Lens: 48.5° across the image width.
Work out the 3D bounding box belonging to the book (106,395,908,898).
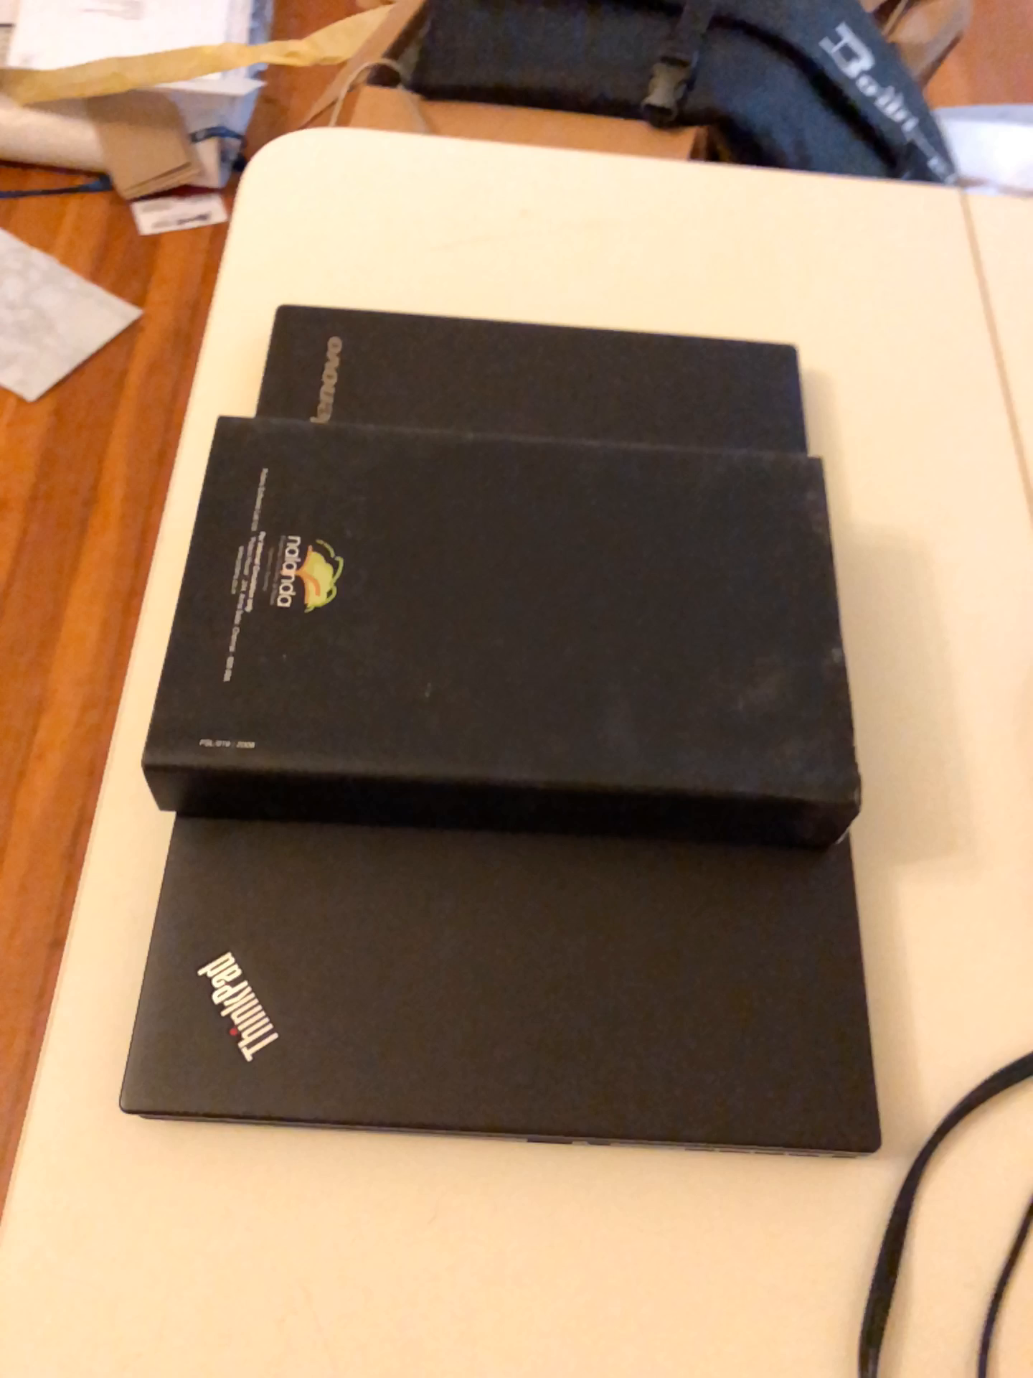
[{"bbox_3d":[0.001,-0.017,0.382,0.230,0.040,0.151,5,60,-4],"label":"book"}]
